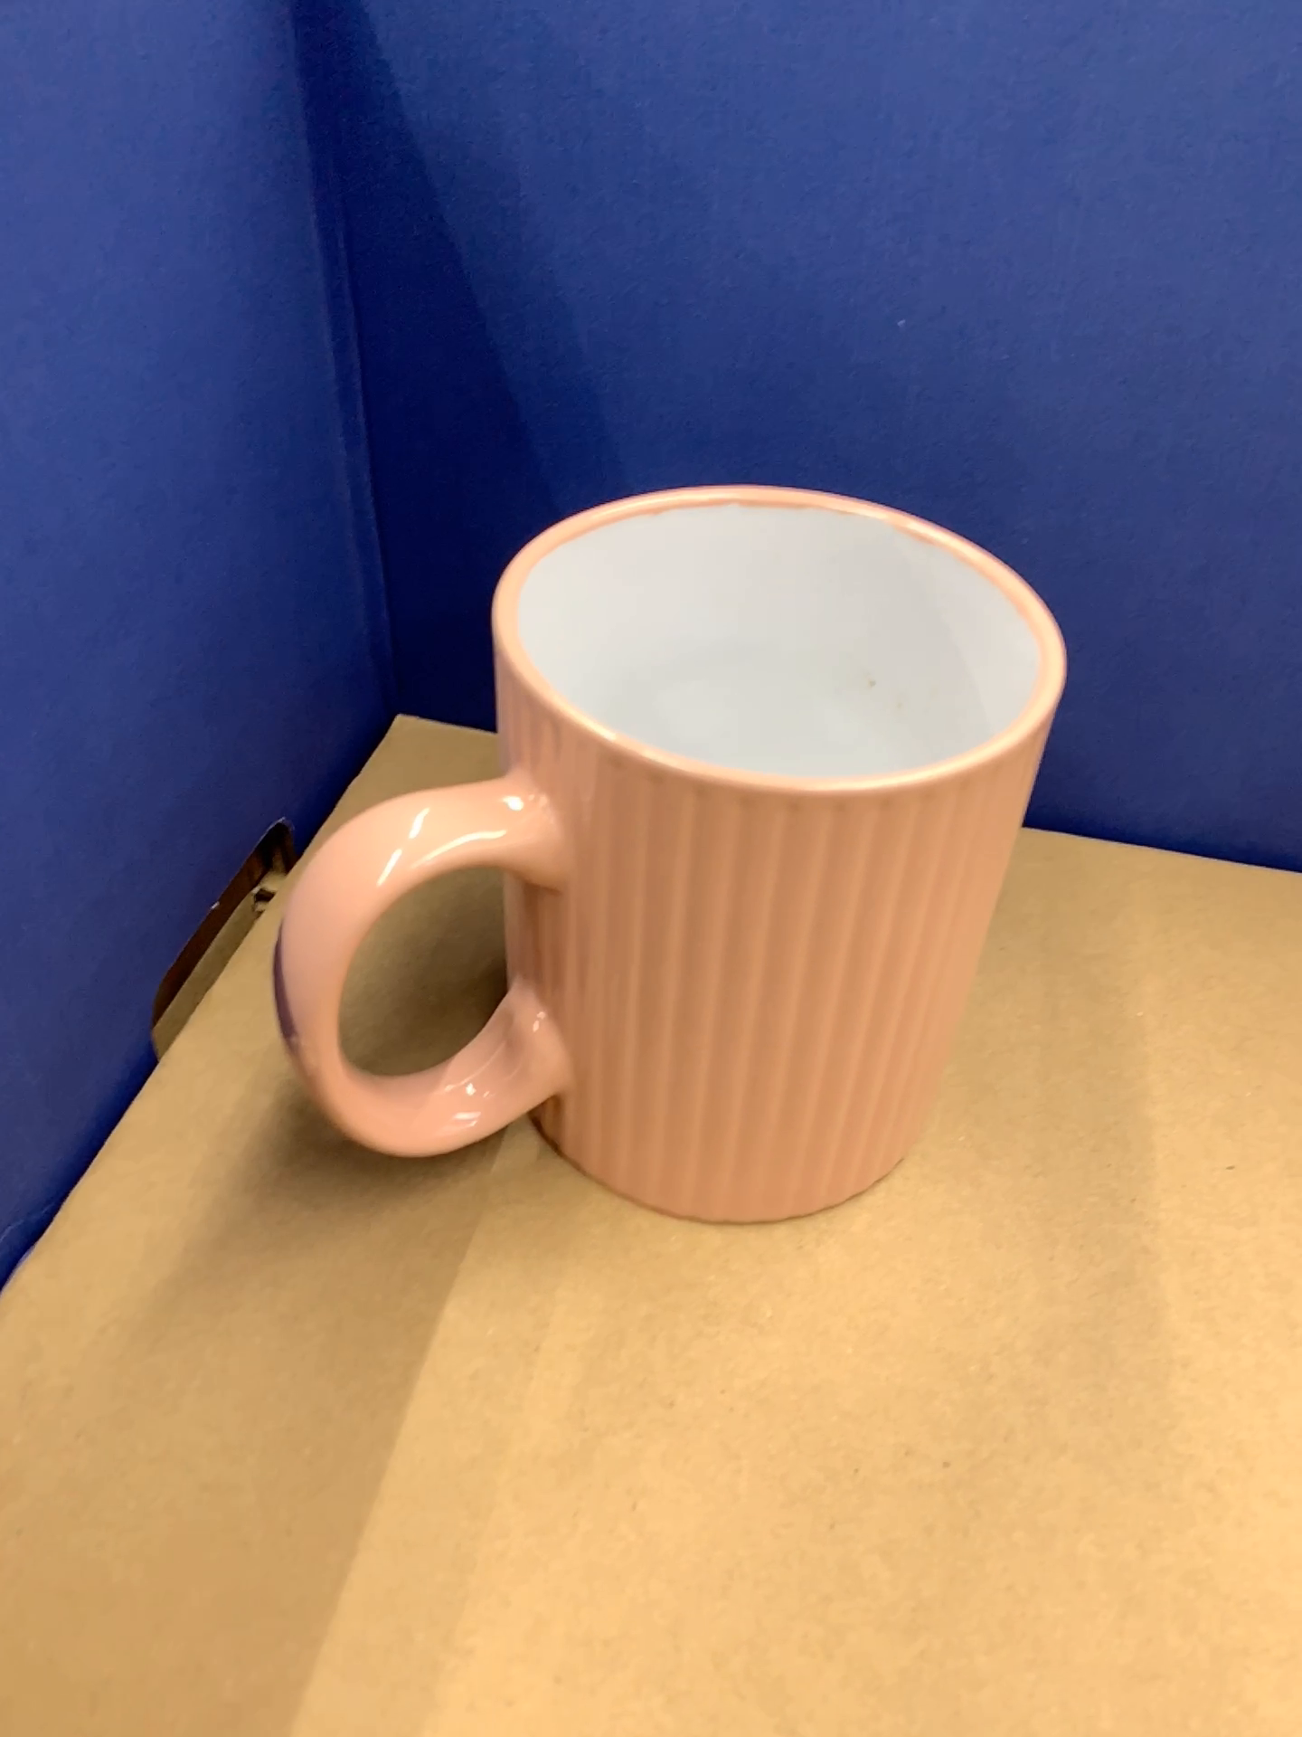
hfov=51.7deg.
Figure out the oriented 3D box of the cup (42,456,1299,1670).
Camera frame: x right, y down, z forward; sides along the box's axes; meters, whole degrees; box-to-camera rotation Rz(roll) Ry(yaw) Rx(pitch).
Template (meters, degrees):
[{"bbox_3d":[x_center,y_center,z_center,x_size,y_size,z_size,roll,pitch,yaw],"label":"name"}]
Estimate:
[{"bbox_3d":[0.002,0.017,0.232,0.155,0.128,0.102,-19,38,-29],"label":"cup"}]
